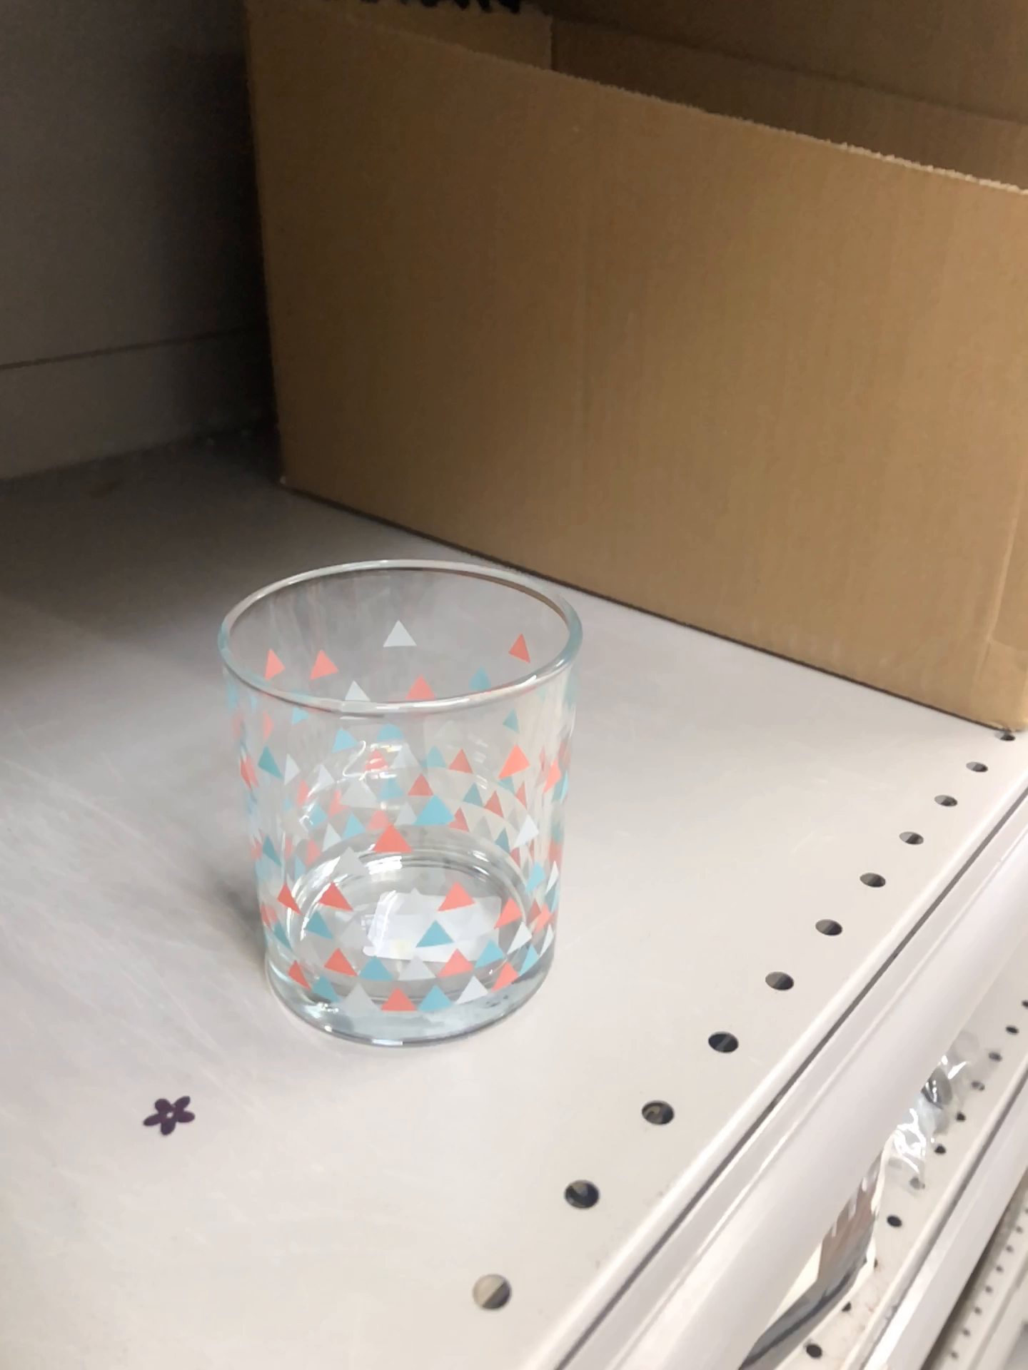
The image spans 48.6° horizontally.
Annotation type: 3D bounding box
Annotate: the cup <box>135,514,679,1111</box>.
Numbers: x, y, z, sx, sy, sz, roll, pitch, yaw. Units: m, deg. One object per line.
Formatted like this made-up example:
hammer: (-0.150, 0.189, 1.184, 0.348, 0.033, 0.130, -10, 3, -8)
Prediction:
cup: (-0.021, 0.019, 0.245, 0.076, 0.081, 0.077, 1, 27, -1)
